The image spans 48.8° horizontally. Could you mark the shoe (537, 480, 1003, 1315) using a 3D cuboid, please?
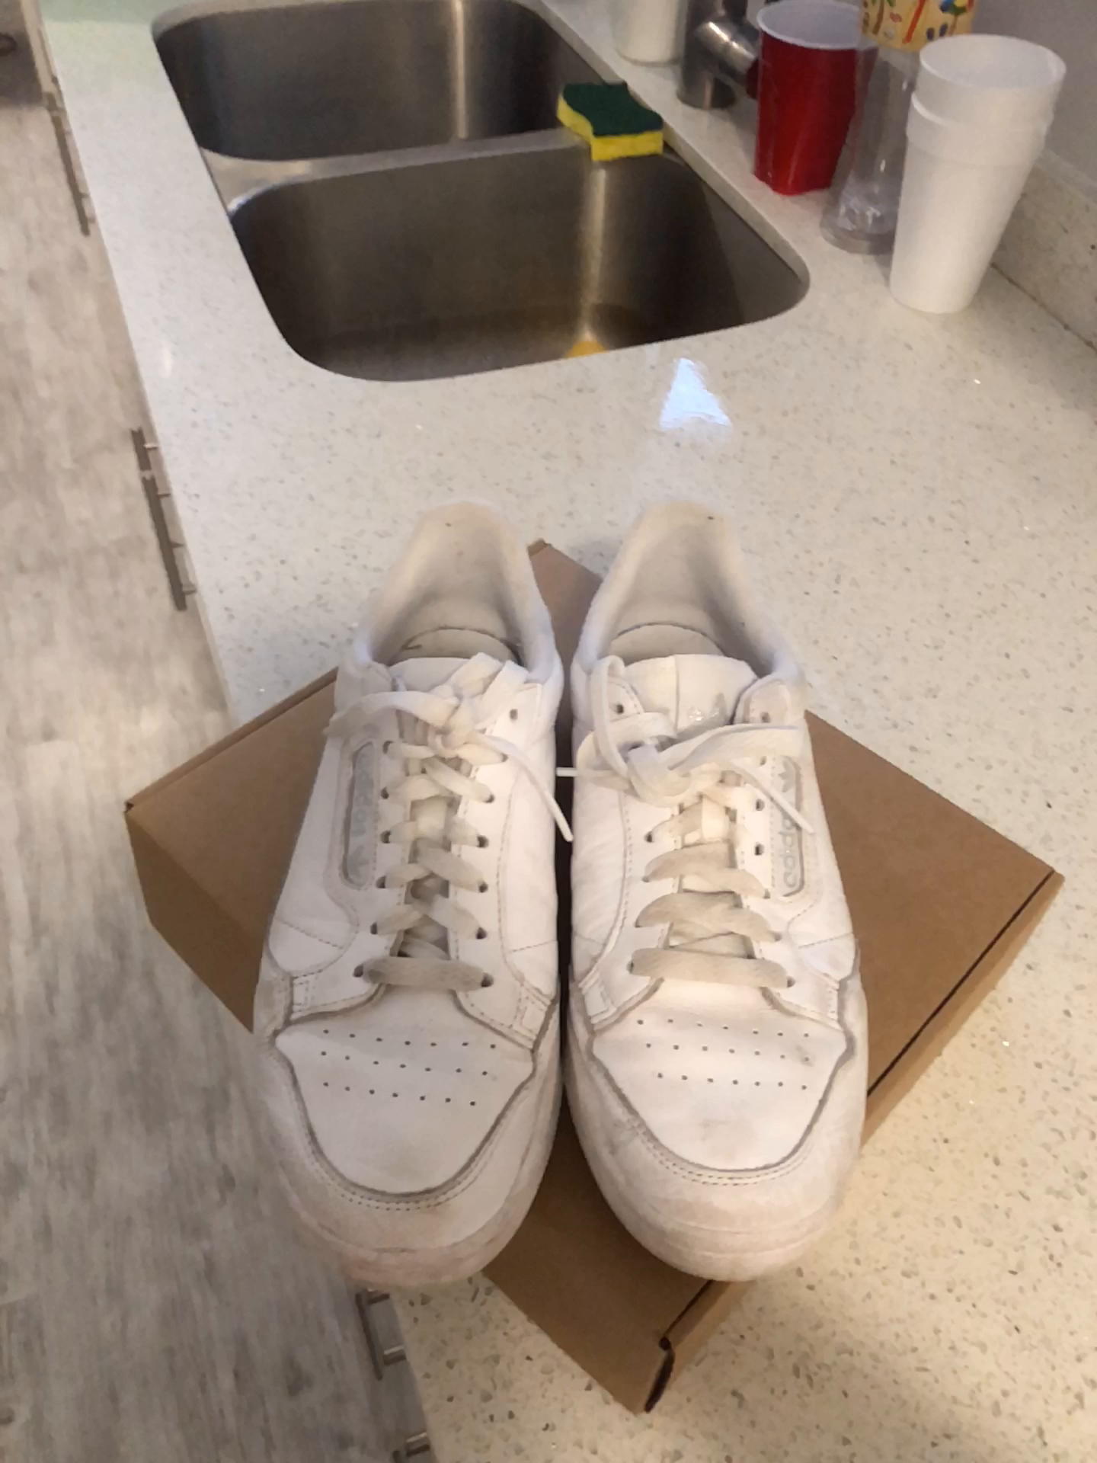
[{"bbox_3d":[0.054,0.038,0.411,0.107,0.100,0.269,2,48,-1],"label":"shoe"}]

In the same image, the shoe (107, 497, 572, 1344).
[{"bbox_3d":[-0.048,0.045,0.408,0.107,0.100,0.269,2,48,-1],"label":"shoe"}]
